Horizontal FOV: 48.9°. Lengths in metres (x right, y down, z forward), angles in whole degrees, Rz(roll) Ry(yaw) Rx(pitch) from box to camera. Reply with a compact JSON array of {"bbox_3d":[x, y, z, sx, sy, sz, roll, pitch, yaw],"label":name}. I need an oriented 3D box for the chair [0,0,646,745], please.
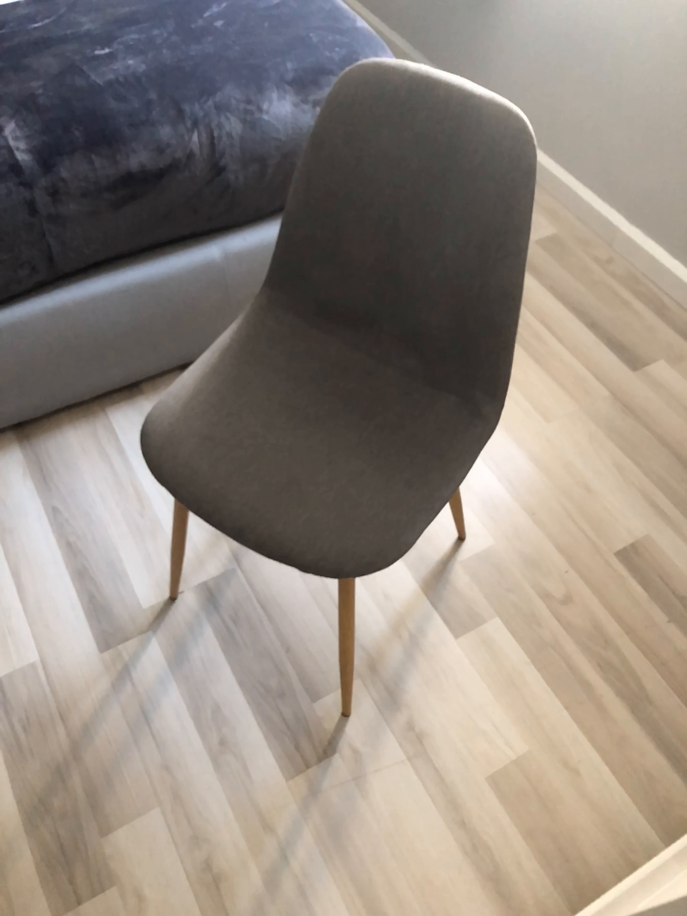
[{"bbox_3d":[-0.026,-0.080,1.092,0.470,0.786,0.573,29,57,18],"label":"chair"}]
